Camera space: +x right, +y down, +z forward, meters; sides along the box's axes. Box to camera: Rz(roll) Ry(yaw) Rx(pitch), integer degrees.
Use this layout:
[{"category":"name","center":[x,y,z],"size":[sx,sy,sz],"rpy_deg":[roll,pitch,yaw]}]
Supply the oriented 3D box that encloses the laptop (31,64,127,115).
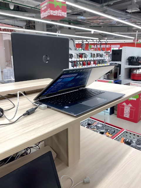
[{"category":"laptop","center":[0.045,-0.047,0.586],"size":[0.320,0.128,0.217],"rpy_deg":[-14,19,-43]}]
